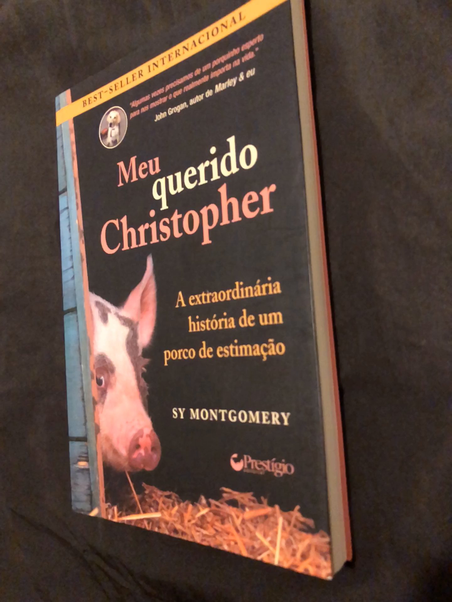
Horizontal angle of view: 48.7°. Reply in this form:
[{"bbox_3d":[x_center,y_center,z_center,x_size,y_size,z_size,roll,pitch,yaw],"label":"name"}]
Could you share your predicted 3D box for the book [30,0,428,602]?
[{"bbox_3d":[-0.019,-0.007,0.216,0.171,0.020,0.220,-9,83,35],"label":"book"}]
